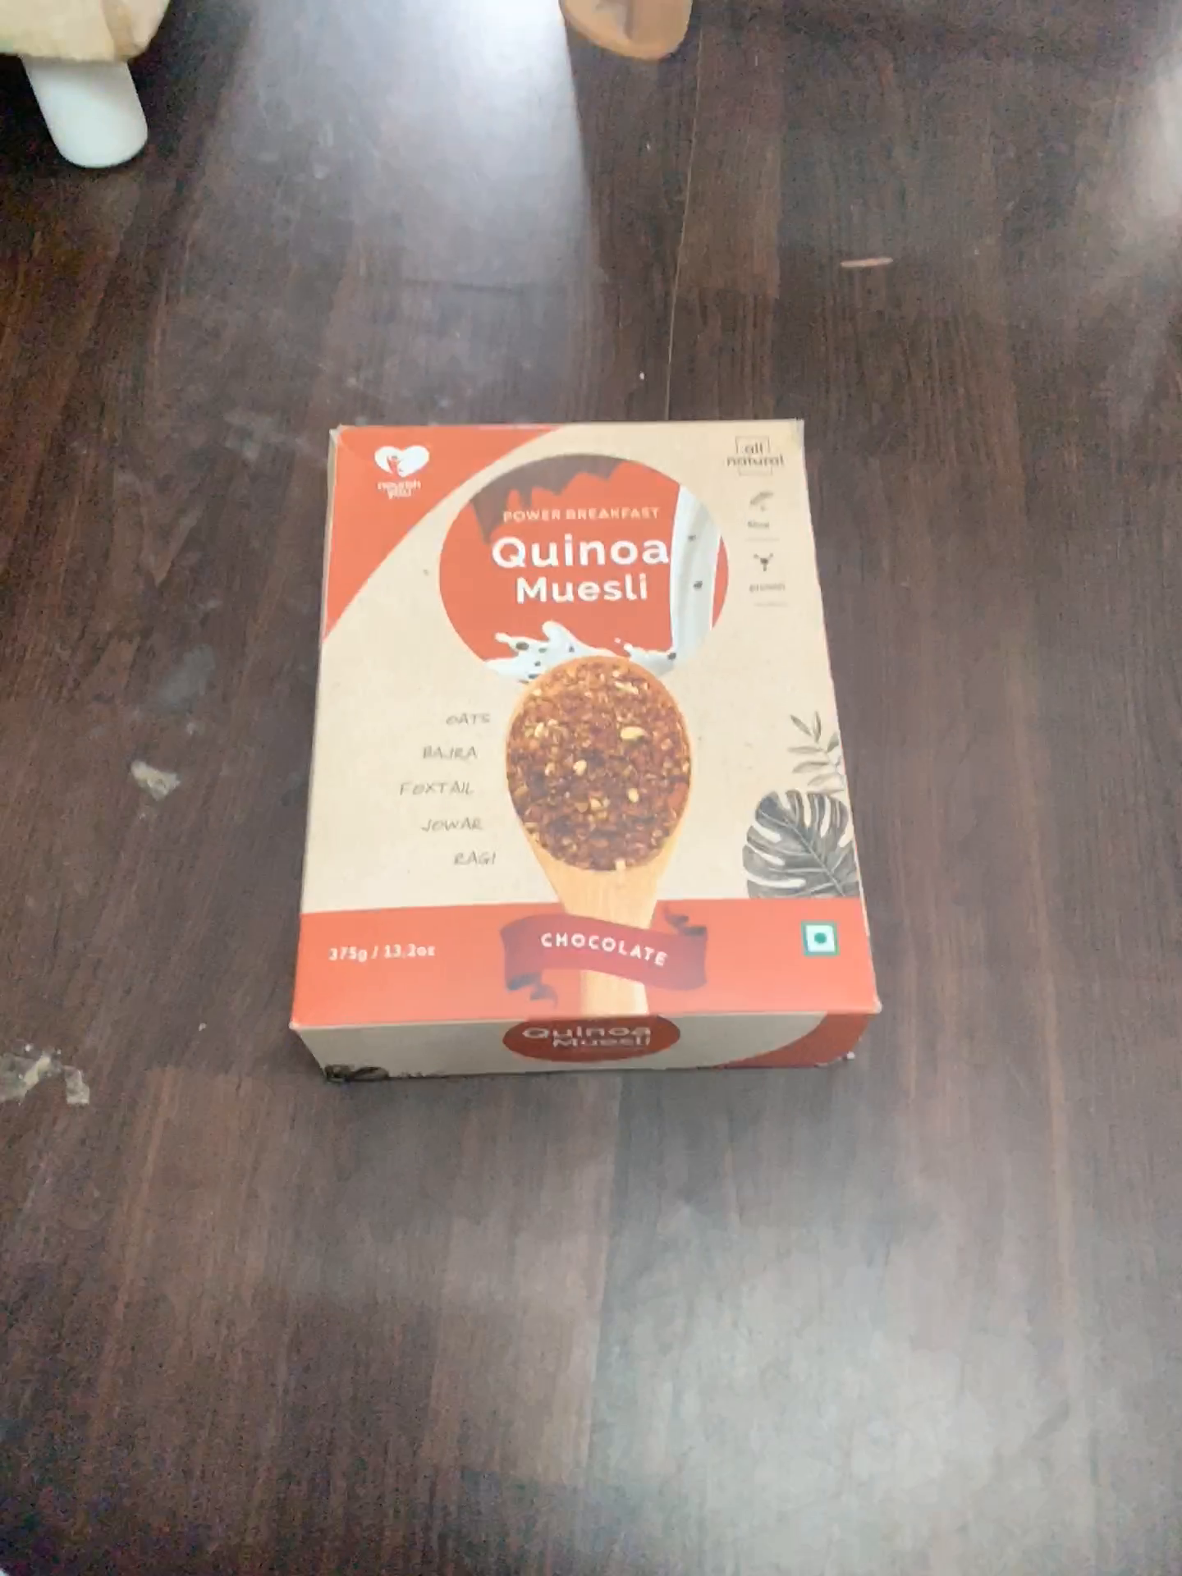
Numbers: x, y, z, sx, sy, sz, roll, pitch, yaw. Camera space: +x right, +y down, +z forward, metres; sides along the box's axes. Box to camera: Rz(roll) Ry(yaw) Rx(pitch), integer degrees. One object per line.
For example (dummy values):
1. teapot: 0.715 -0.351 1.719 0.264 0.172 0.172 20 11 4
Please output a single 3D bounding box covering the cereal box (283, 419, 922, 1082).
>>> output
1. cereal box: 0.001 -0.018 0.403 0.170 0.070 0.210 -1 62 -1
